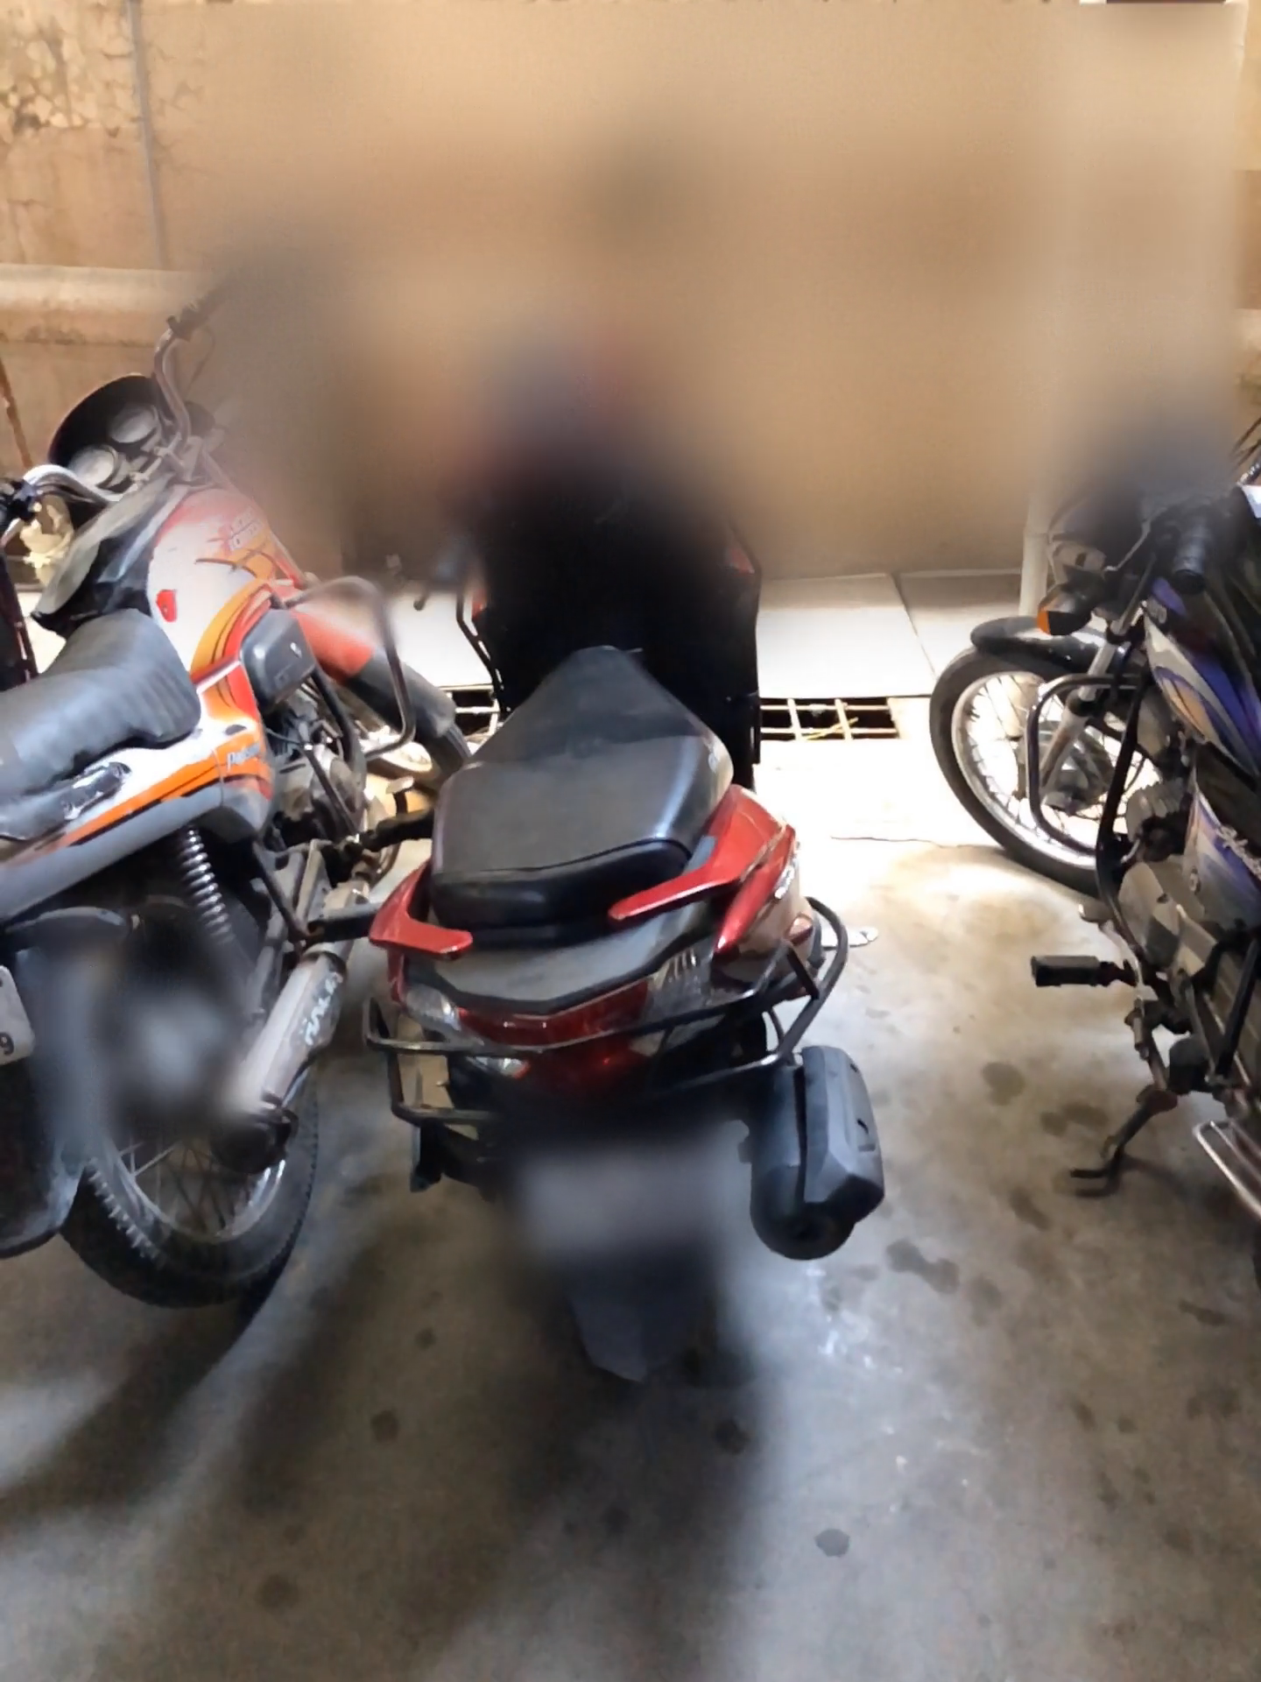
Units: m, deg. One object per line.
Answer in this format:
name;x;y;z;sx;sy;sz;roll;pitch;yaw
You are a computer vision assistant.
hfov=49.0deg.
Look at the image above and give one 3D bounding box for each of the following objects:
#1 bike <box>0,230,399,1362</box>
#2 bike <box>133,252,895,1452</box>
bike;-0.884;-0.244;2.145;0.838;1.089;1.658;0;30;-3
bike;-0.148;-0.114;2.049;0.630;1.140;1.446;0;32;-3
